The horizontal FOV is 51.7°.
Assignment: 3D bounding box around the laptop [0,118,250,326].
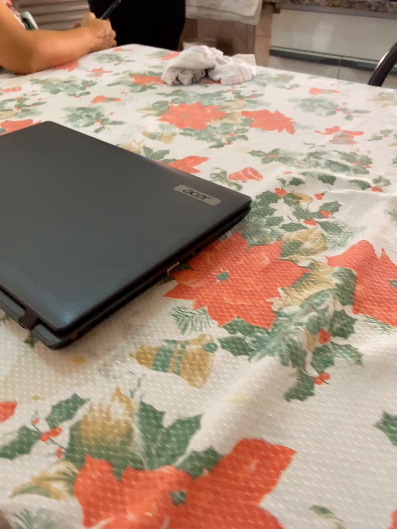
[{"bbox_3d":[-0.153,-0.085,0.435,0.351,0.001,0.224,28,48,31],"label":"laptop"}]
